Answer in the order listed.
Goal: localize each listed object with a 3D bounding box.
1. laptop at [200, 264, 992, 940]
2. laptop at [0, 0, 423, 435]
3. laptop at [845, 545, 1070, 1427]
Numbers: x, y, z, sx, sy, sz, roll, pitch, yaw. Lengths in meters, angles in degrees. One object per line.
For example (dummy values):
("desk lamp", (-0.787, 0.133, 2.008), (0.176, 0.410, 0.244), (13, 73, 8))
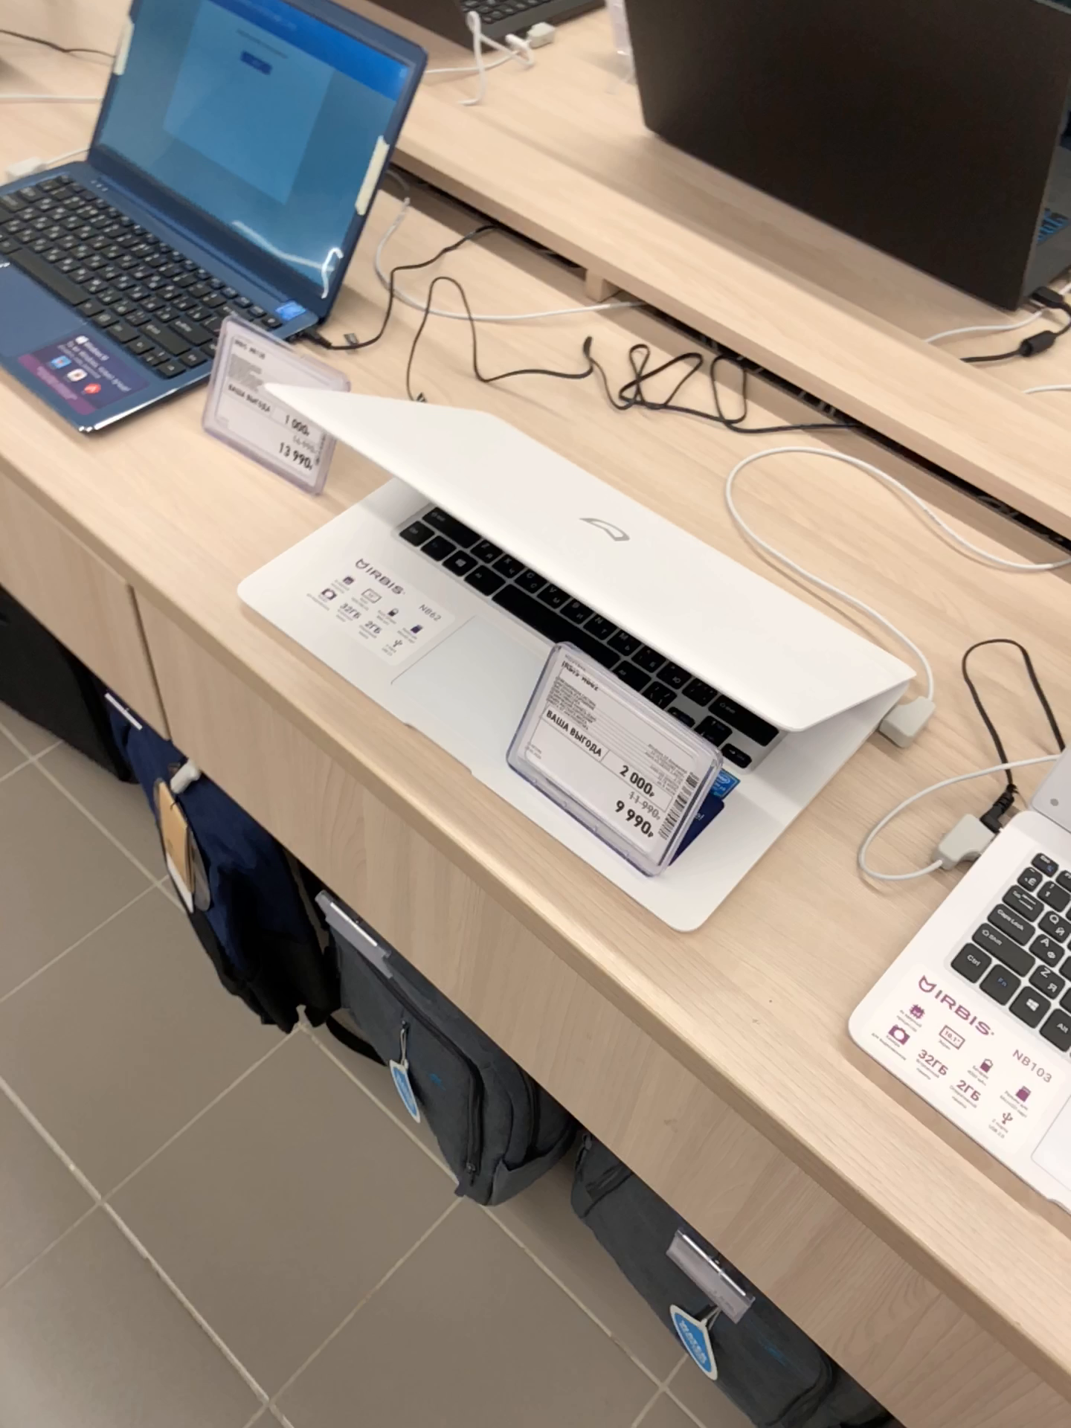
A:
("laptop", (0.023, -0.084, 0.658), (0.350, 0.115, 0.224), (36, 59, 22))
("laptop", (-0.304, -0.416, 0.875), (0.310, 0.162, 0.319), (37, 57, 22))
("laptop", (0.330, 0.108, 0.494), (0.263, 0.168, 0.231), (38, 58, 25))
